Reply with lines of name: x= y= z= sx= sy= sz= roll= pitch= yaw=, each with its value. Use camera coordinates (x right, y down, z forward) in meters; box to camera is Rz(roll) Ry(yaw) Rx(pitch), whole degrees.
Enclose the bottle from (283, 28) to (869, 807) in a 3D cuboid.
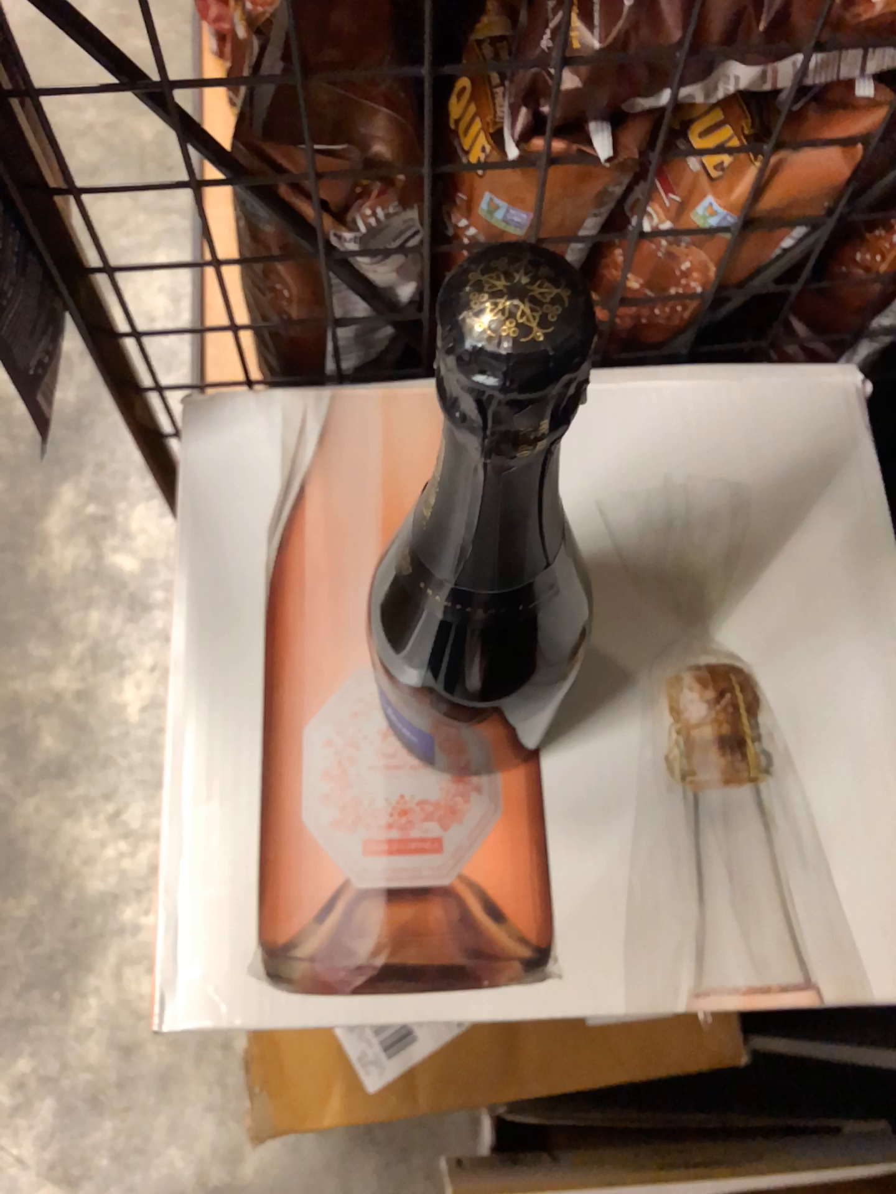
bottle: x=0.016 y=-0.013 z=0.329 sx=0.090 sy=0.300 sz=0.100 roll=-10 pitch=70 yaw=-6
